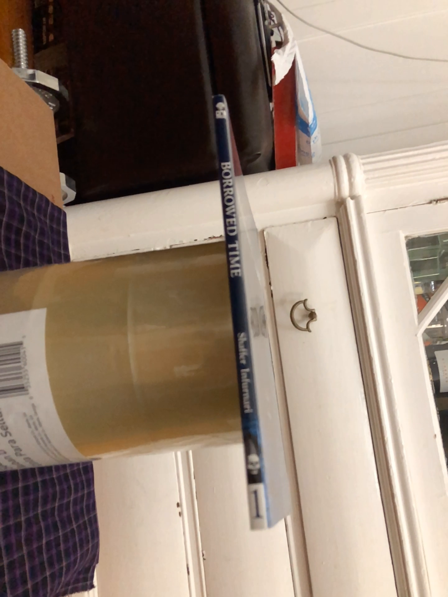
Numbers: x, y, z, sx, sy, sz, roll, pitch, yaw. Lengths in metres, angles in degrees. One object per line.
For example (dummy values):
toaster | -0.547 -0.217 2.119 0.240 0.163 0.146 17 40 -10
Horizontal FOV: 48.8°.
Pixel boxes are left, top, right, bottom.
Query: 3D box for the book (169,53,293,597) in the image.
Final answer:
book | 0.007 0.023 0.254 0.160 0.010 0.230 66 15 -65
